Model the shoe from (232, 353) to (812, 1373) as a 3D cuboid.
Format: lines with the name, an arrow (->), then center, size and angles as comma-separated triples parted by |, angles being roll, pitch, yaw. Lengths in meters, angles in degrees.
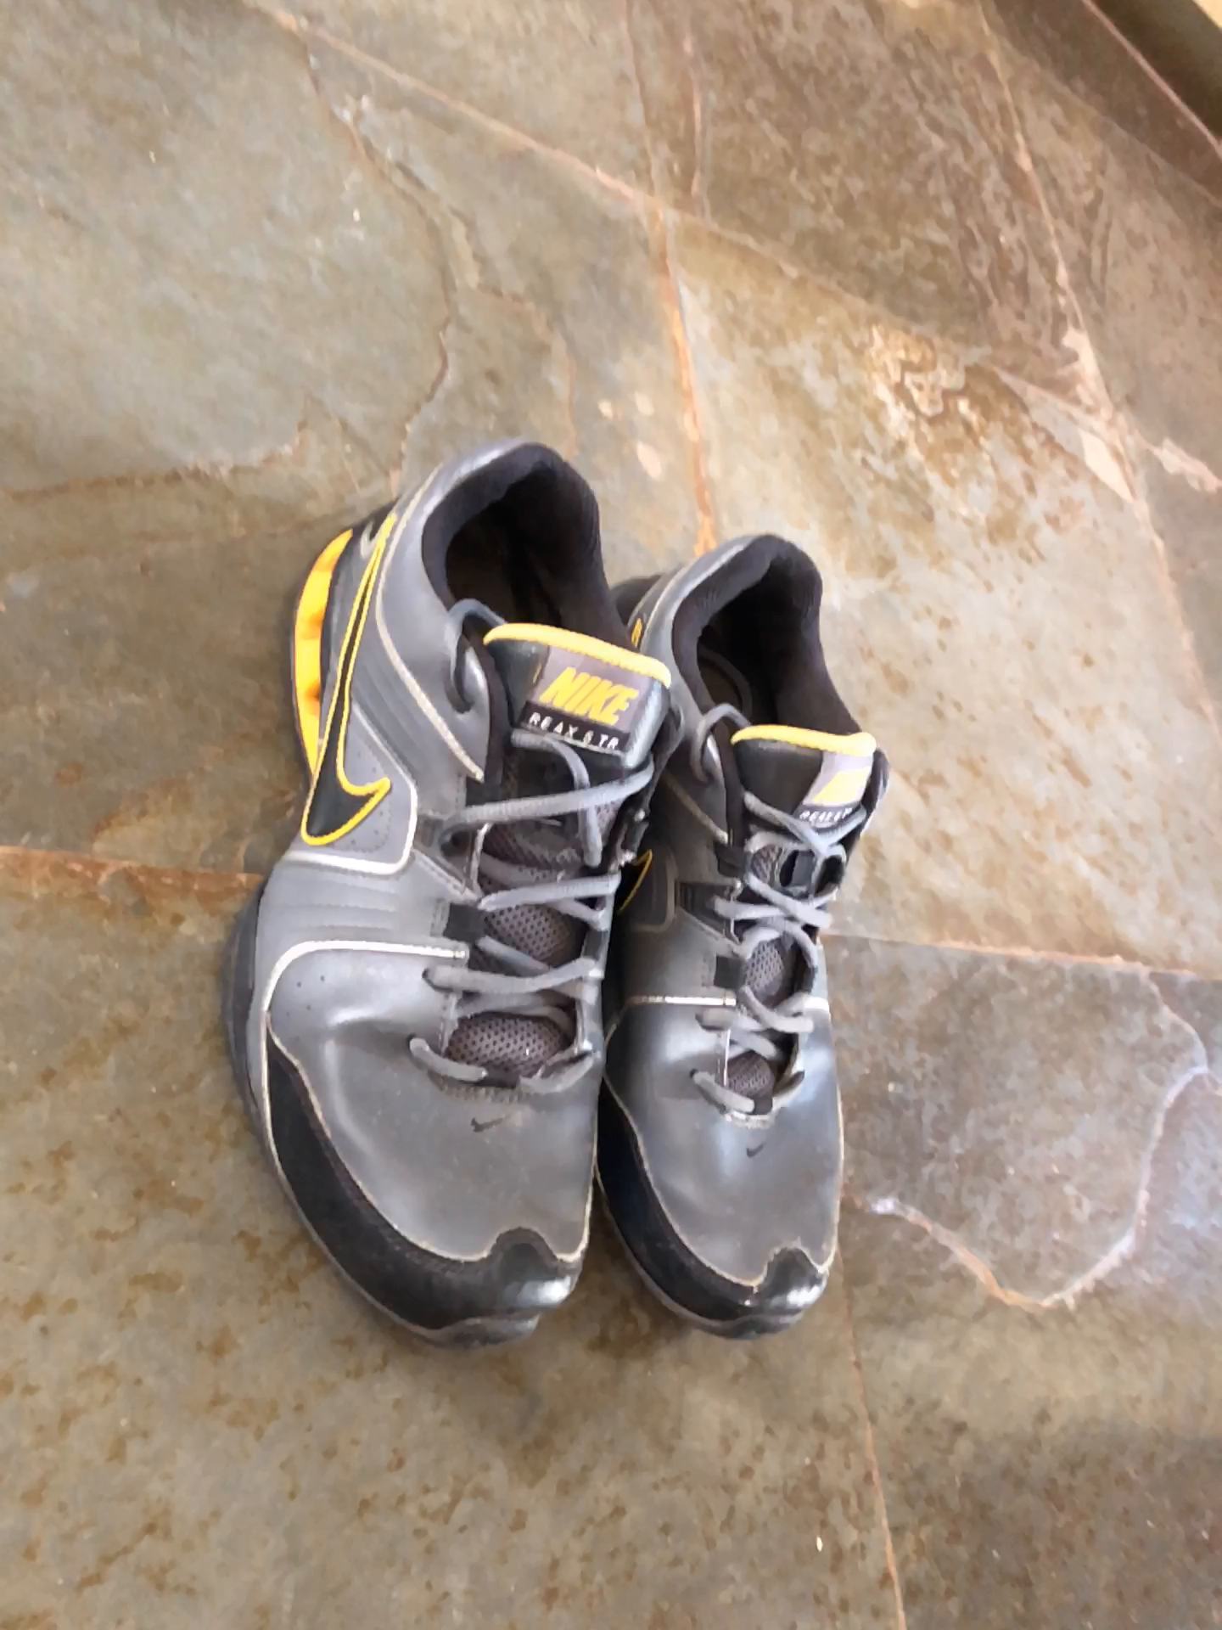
shoe -> -0.034, 0.015, 0.369 | 0.100, 0.099, 0.241 | 12, 61, -34

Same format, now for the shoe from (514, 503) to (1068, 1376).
shoe -> 0.046, 0.041, 0.429 | 0.100, 0.099, 0.241 | 12, 61, -34
